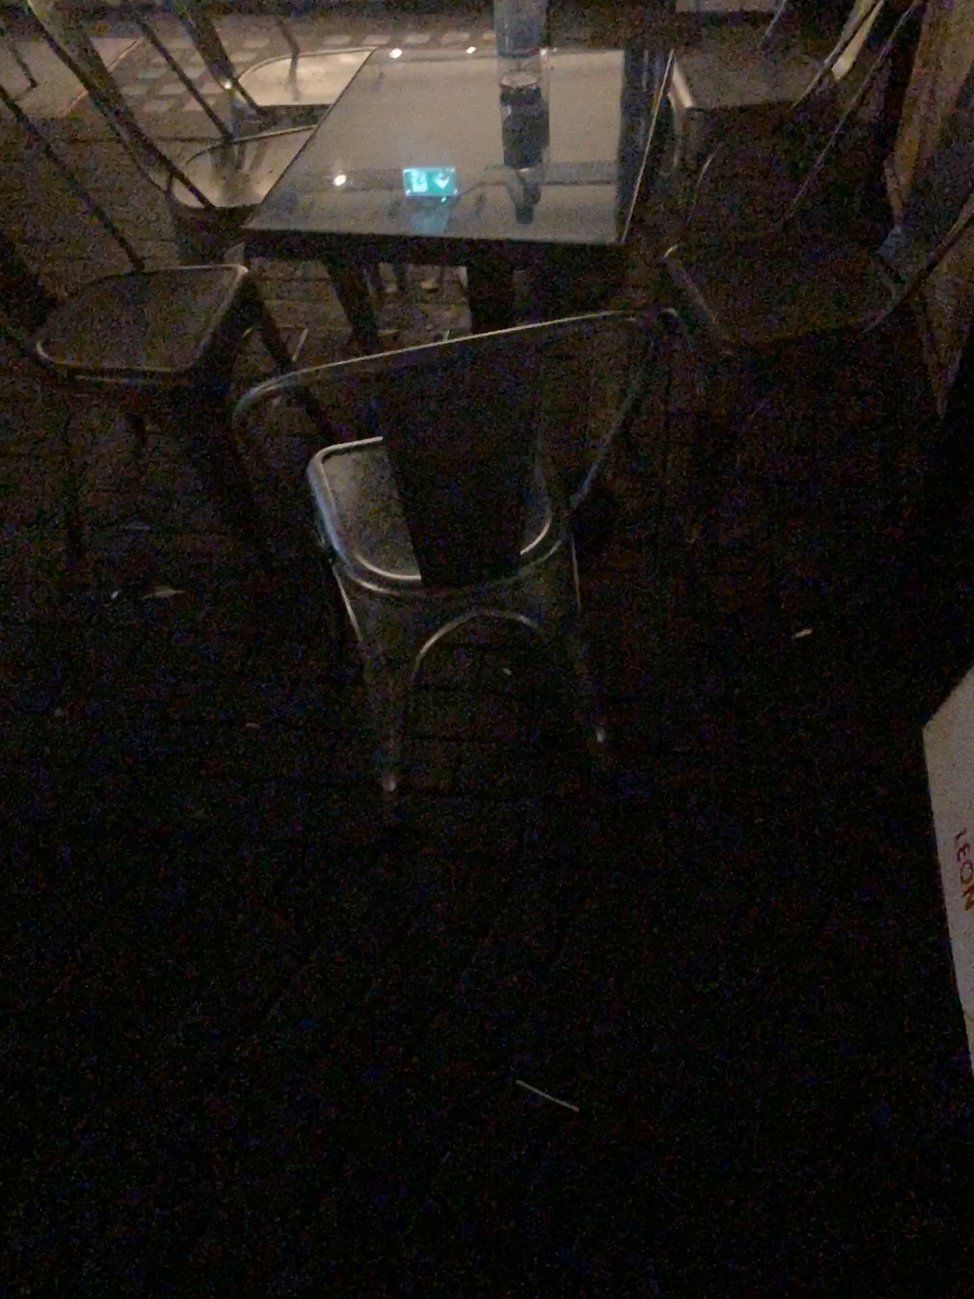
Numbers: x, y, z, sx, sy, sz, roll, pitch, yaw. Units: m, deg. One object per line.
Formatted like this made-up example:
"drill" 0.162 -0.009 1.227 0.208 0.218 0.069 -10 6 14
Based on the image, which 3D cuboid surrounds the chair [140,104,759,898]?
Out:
"chair" -0.064 -0.185 1.311 0.500 0.723 0.606 -16 48 -9
